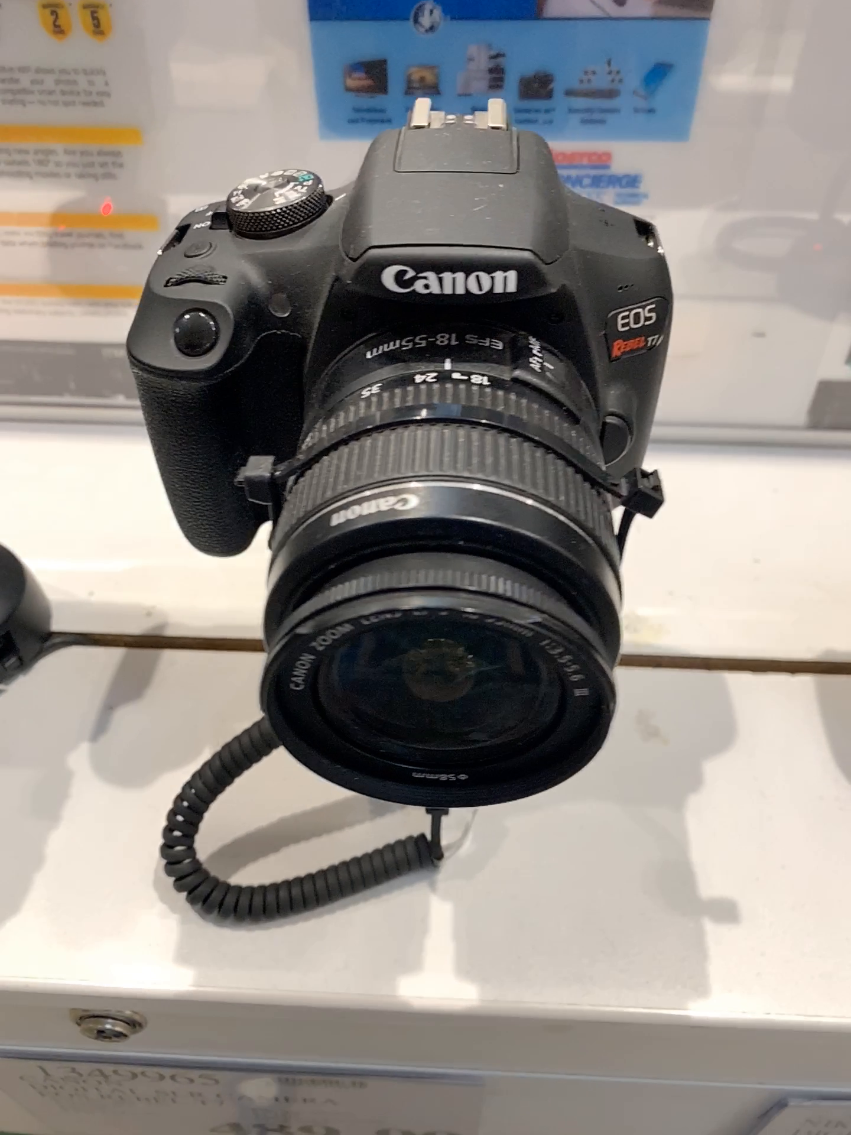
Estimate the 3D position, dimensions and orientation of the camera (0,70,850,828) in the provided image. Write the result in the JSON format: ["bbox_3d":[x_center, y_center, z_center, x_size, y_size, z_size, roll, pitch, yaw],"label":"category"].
[{"bbox_3d":[-0.001,-0.034,0.189,0.130,0.089,0.141,2,44,1],"label":"camera"}]
